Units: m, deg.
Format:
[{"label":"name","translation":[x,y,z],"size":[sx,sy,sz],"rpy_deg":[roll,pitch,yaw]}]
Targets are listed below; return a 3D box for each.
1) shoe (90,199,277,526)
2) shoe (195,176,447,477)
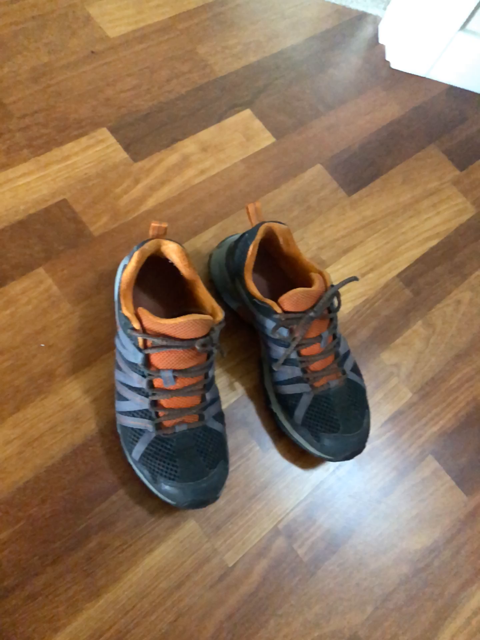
[{"label":"shoe","translation":[-0.068,0.038,0.511],"size":[0.113,0.117,0.282],"rpy_deg":[-7,70,-17]},{"label":"shoe","translation":[0.072,0.006,0.566],"size":[0.119,0.117,0.279],"rpy_deg":[-21,75,-22]}]
